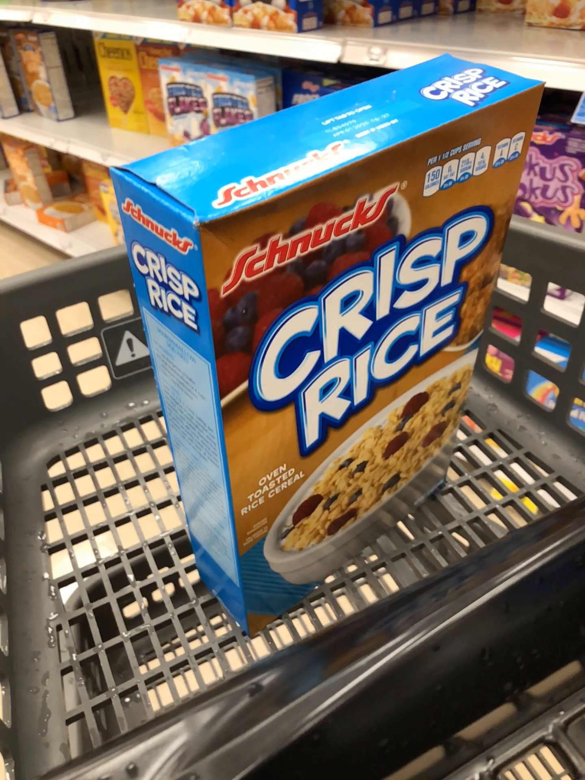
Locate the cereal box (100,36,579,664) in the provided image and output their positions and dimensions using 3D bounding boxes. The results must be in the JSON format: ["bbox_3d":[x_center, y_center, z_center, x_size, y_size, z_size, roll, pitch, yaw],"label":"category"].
[{"bbox_3d":[0.034,-0.009,0.369,0.220,0.299,0.060,-32,51,-30],"label":"cereal box"}]
